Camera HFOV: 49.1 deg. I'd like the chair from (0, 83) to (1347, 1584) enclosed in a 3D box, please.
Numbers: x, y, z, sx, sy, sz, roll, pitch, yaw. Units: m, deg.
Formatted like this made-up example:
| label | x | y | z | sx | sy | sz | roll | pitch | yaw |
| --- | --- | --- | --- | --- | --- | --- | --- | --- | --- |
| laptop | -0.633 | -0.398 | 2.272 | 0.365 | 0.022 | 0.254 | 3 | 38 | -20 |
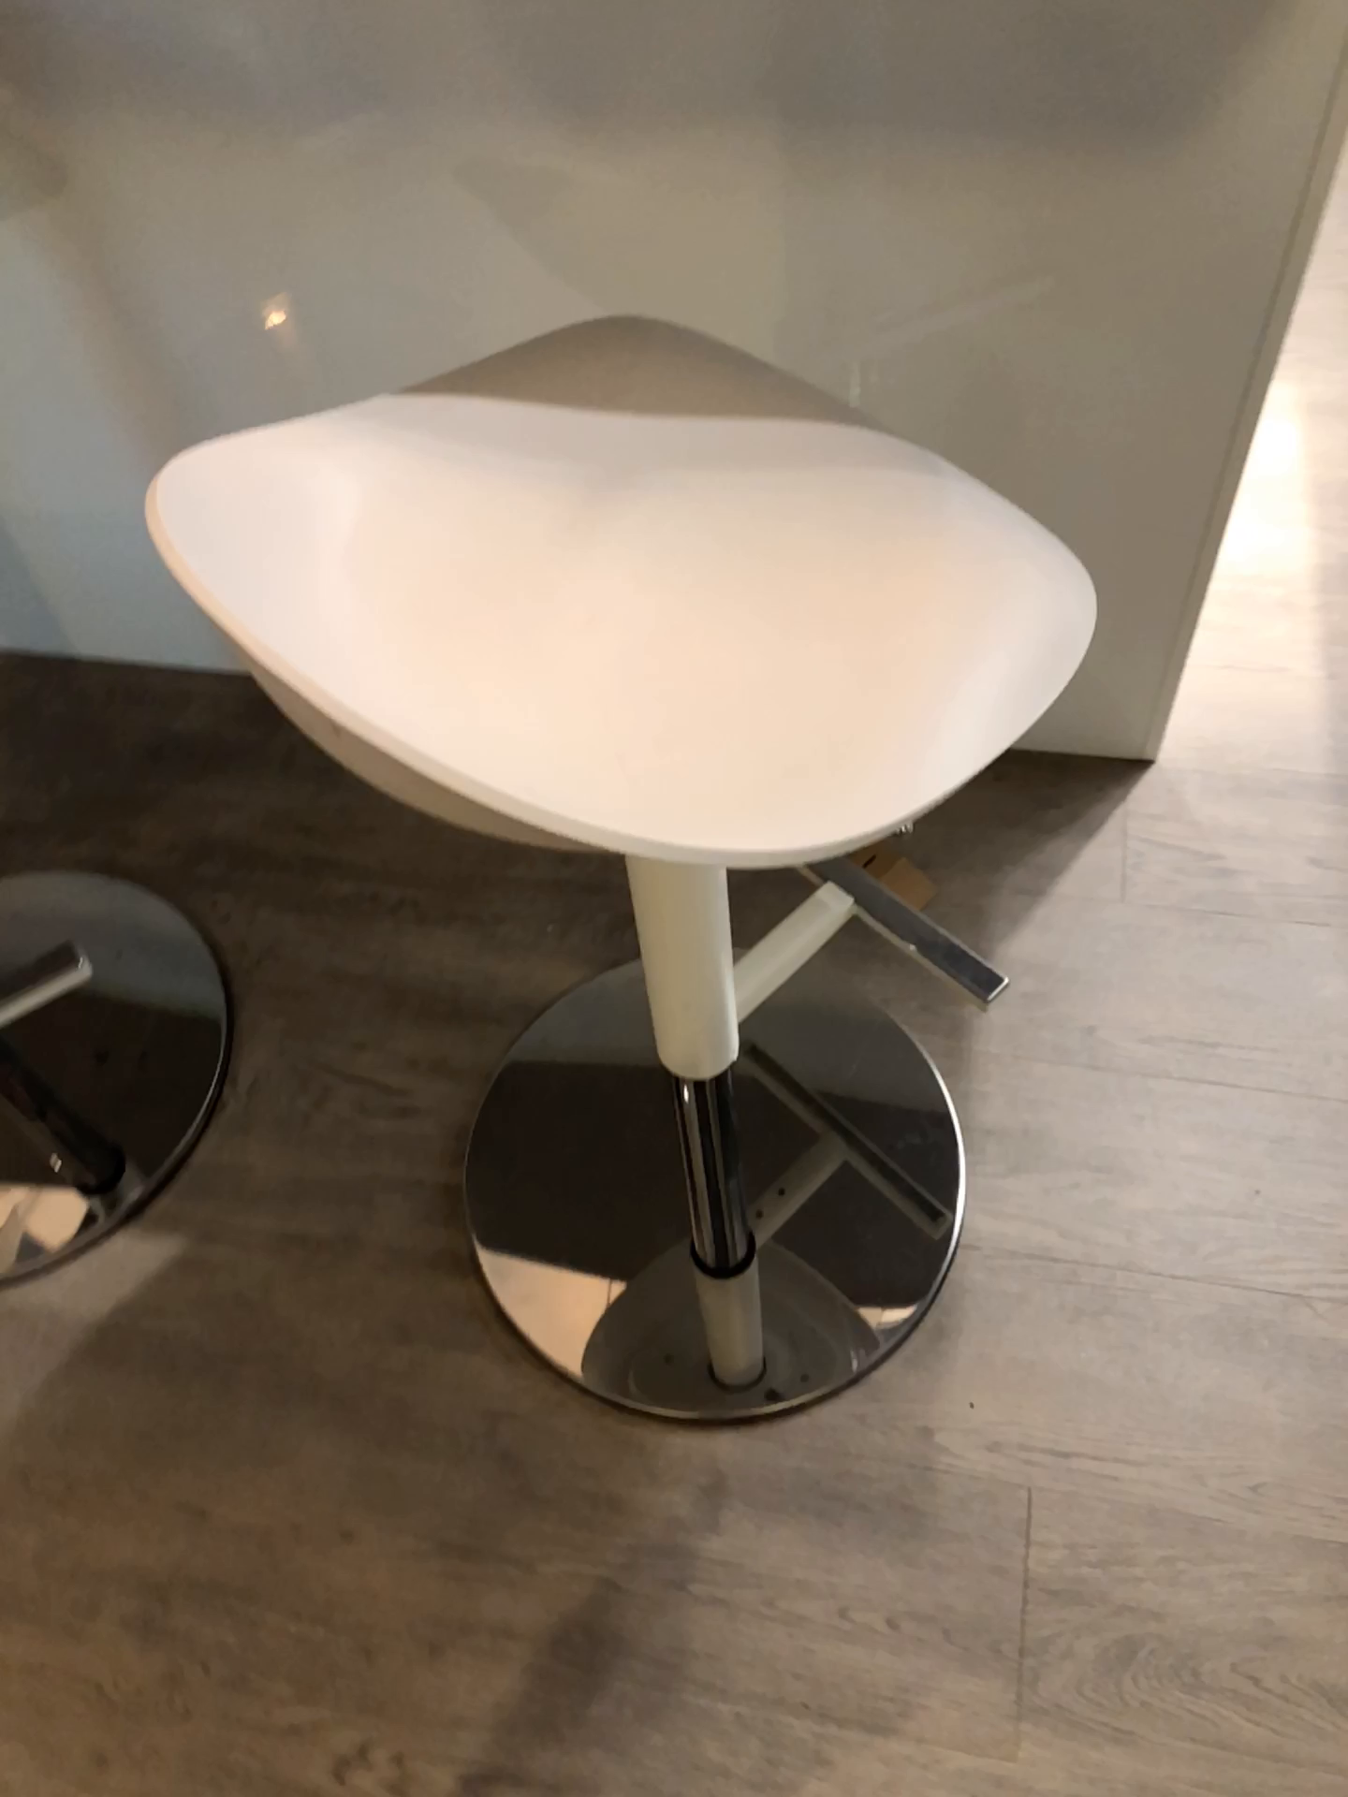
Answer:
| label | x | y | z | sx | sy | sz | roll | pitch | yaw |
| --- | --- | --- | --- | --- | --- | --- | --- | --- | --- |
| chair | -0.004 | 0.020 | 0.911 | 0.442 | 0.716 | 0.441 | 36 | 66 | 25 |
